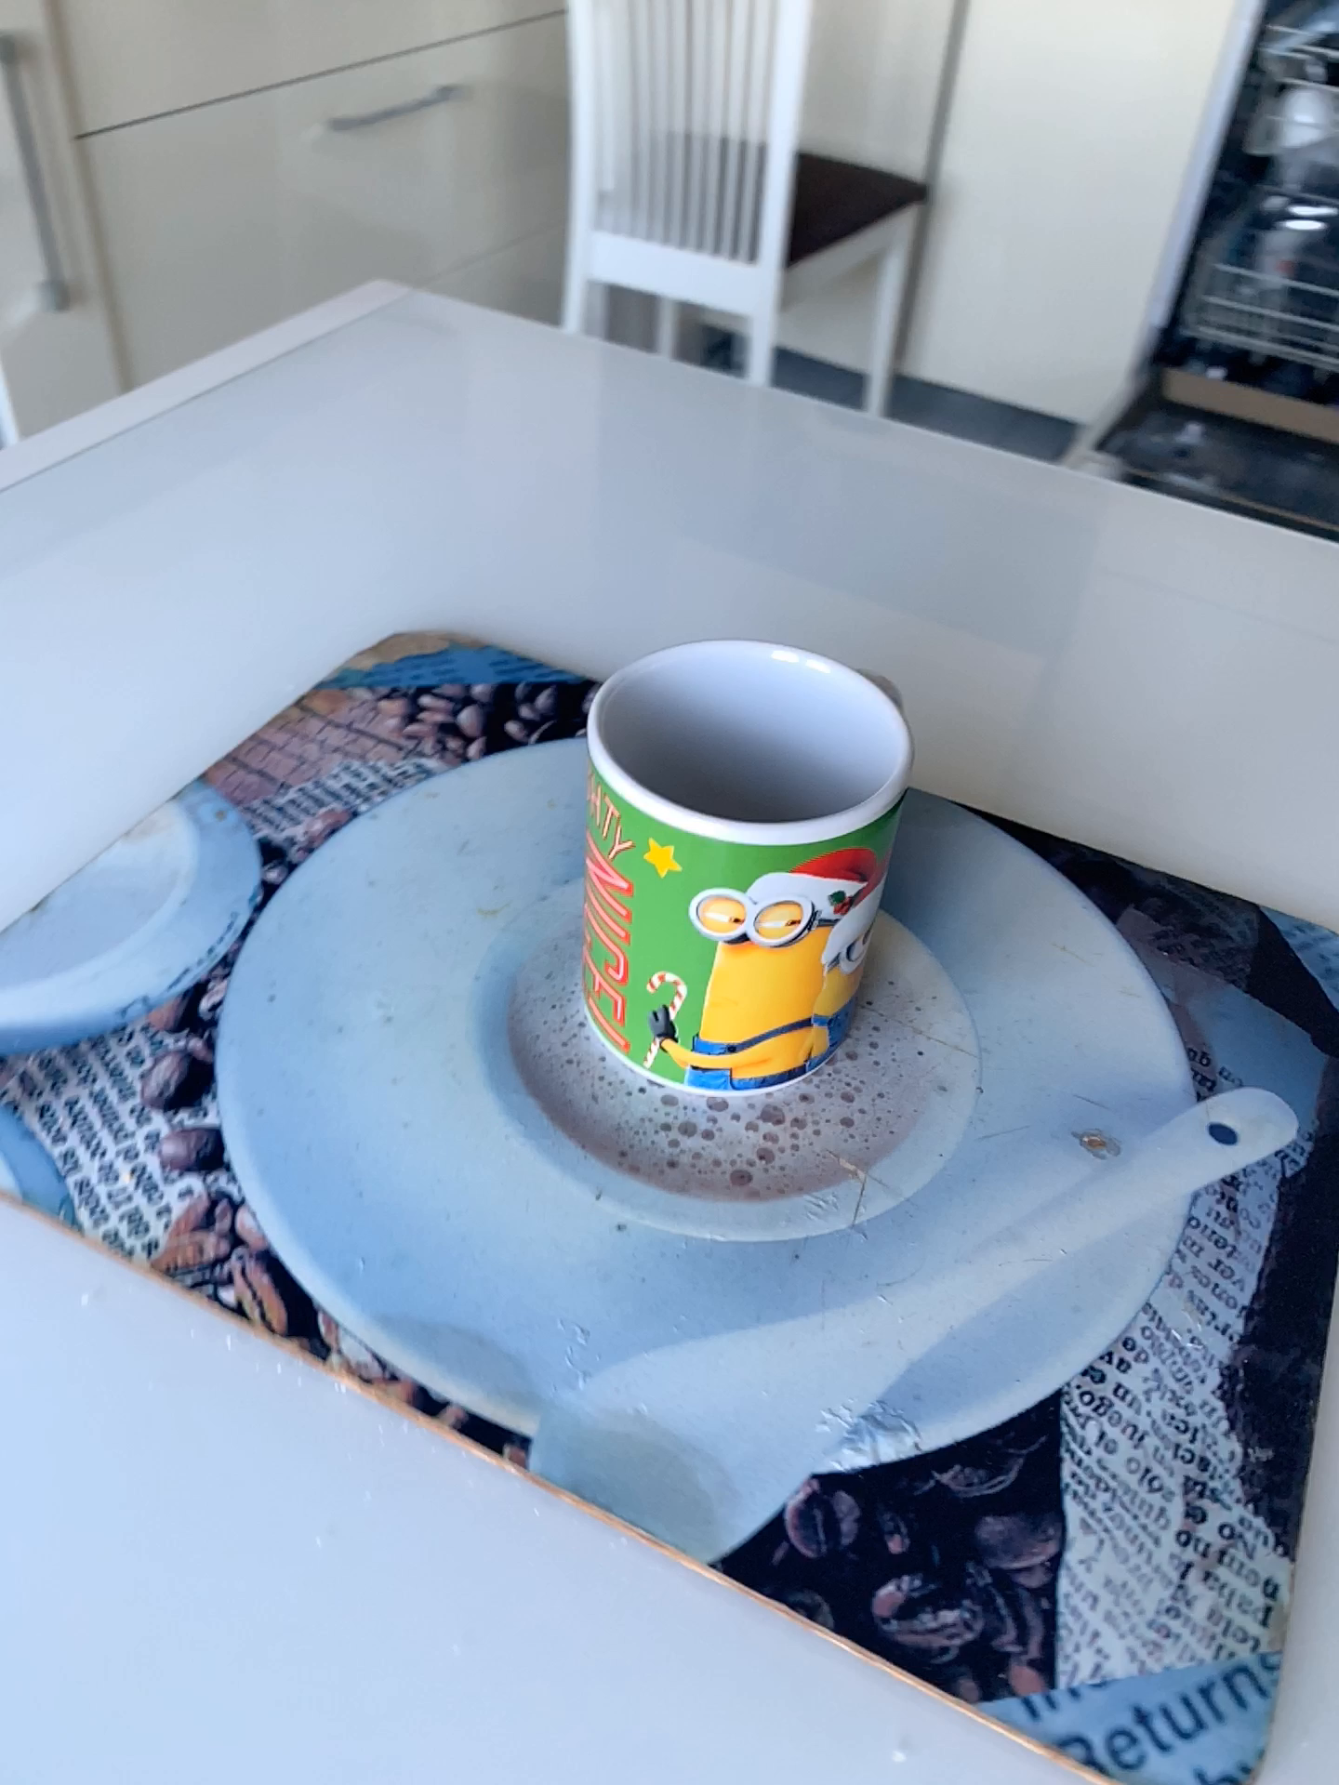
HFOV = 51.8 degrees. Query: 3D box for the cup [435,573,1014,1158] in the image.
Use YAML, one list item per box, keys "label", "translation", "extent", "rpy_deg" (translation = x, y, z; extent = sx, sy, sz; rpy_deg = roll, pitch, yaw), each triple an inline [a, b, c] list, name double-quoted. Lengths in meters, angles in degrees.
- label: "cup"
  translation: [0.017, -0.015, 0.389]
  extent: [0.094, 0.077, 0.134]
  rpy_deg: [29, 47, 24]
